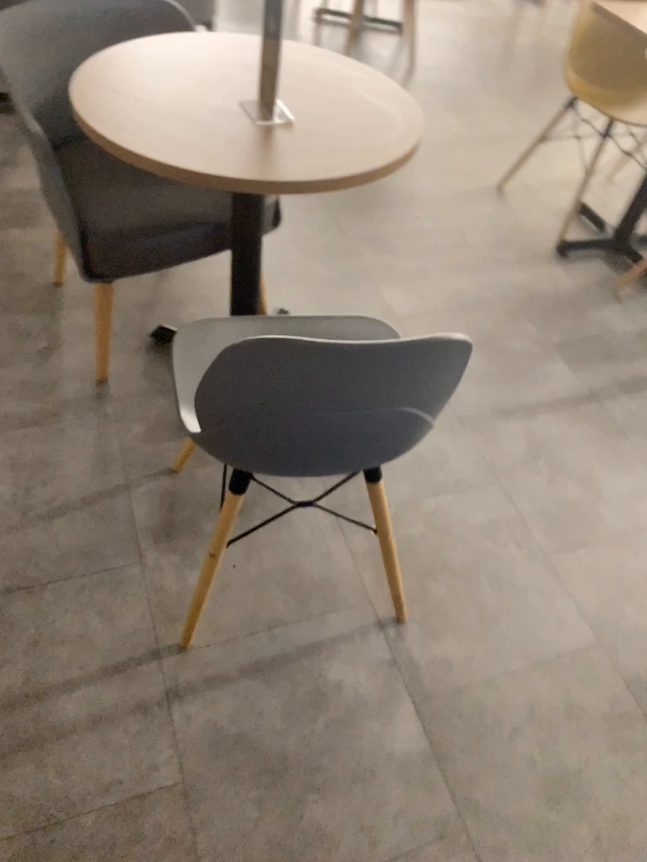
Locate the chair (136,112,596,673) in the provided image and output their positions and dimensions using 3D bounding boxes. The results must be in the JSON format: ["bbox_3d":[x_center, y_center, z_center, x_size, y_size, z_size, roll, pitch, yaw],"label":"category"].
[{"bbox_3d":[-0.032,-0.029,1.169,0.505,0.803,0.524,-4,48,-13],"label":"chair"}]

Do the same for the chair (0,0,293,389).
[{"bbox_3d":[-0.482,-0.630,1.736,0.557,0.753,0.513,-23,55,-27],"label":"chair"}]
